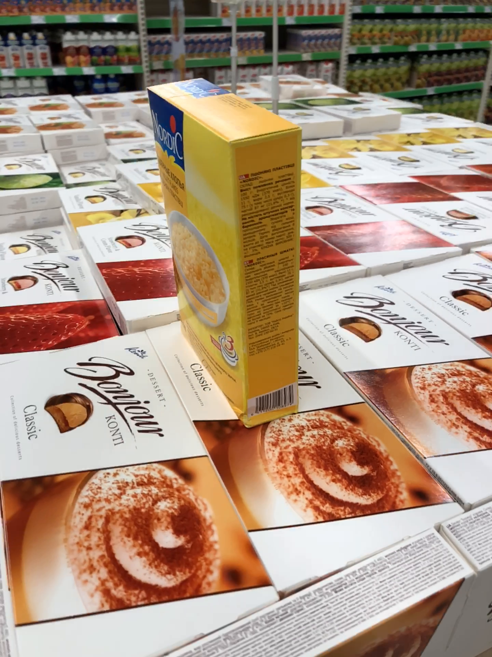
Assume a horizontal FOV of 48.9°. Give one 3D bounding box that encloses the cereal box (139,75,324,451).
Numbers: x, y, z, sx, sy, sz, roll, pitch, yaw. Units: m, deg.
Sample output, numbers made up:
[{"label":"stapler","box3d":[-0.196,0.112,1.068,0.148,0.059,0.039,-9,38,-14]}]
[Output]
[{"label":"cereal box","box3d":[-0.010,-0.048,0.394,0.050,0.218,0.161,-19,39,-18]}]
